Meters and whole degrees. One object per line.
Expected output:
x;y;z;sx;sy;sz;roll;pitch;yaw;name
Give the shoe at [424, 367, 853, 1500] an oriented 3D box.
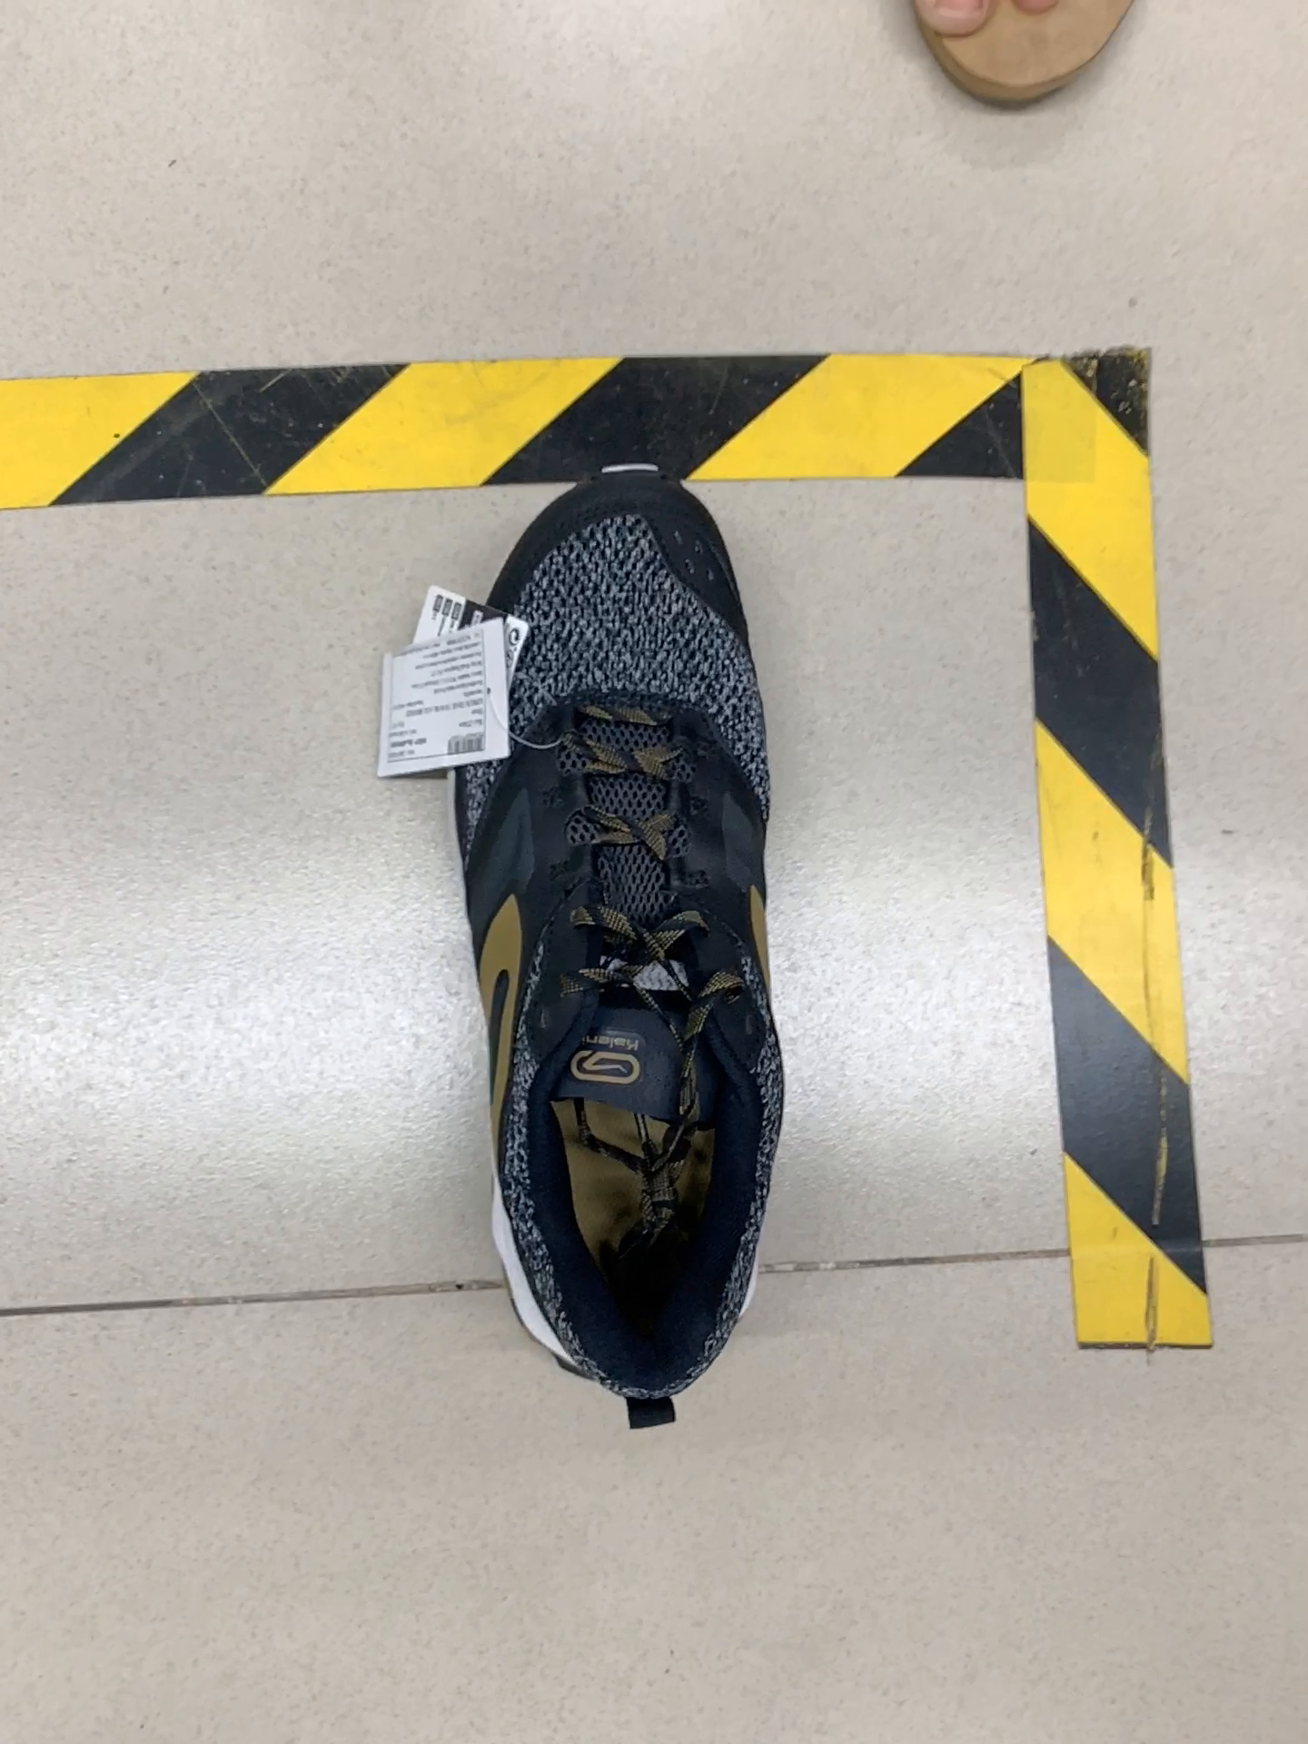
-0.007;0.015;0.409;0.110;0.100;0.300;0;84;-3;shoe
